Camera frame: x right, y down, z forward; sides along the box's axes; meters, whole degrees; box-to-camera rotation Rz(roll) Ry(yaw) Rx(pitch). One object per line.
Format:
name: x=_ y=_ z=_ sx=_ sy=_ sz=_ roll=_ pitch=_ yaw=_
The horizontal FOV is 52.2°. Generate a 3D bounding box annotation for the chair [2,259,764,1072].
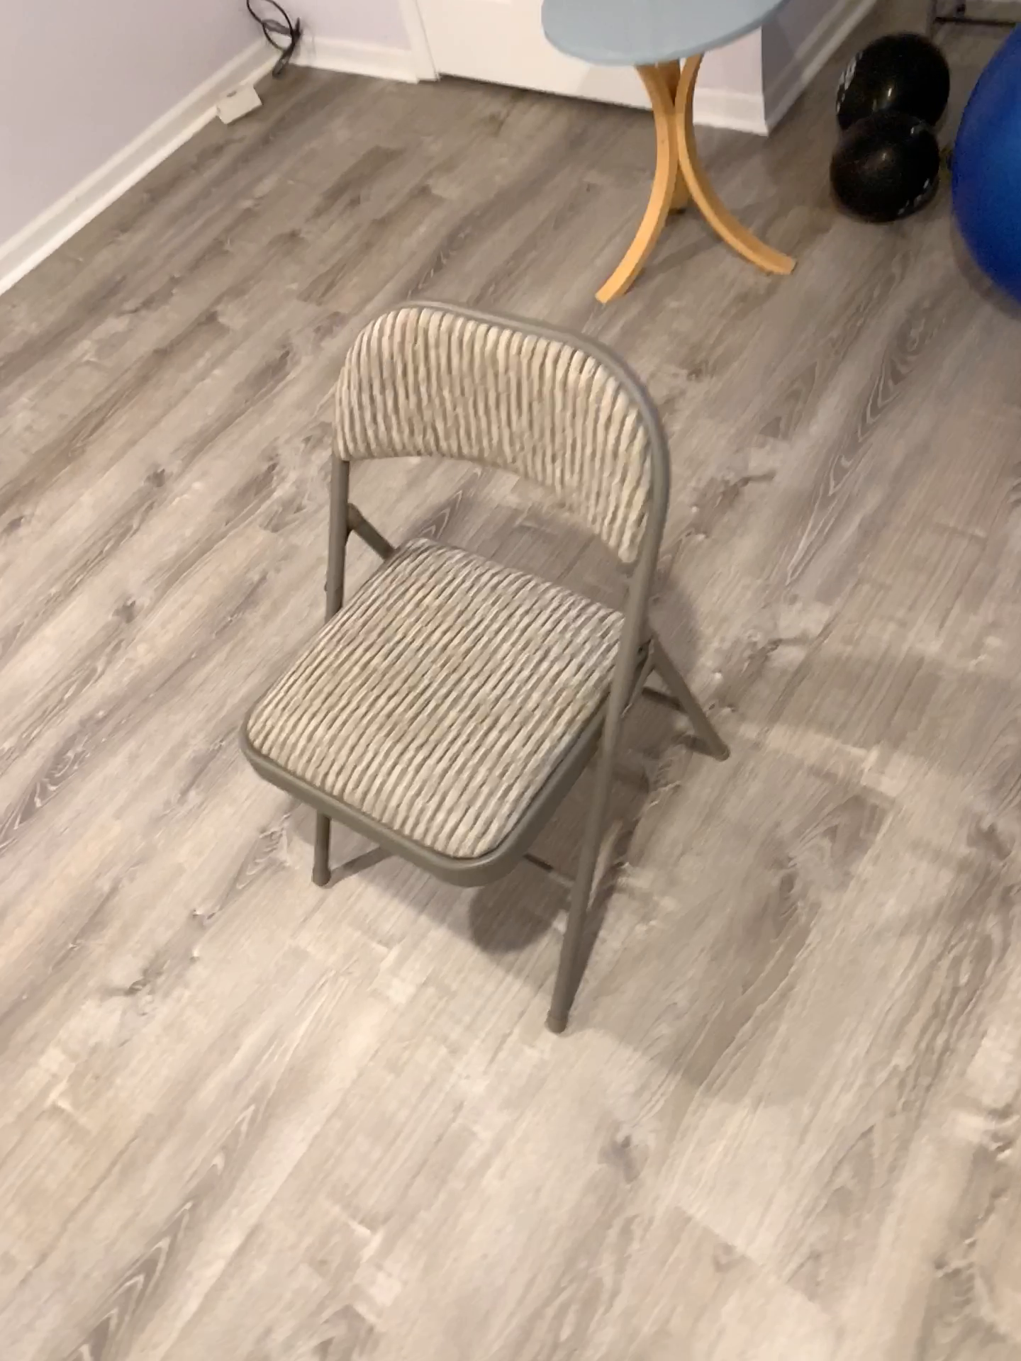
chair: x=-0.058 y=0.002 z=1.297 sx=0.503 sy=0.709 sz=0.586 roll=23 pitch=65 yaw=28
